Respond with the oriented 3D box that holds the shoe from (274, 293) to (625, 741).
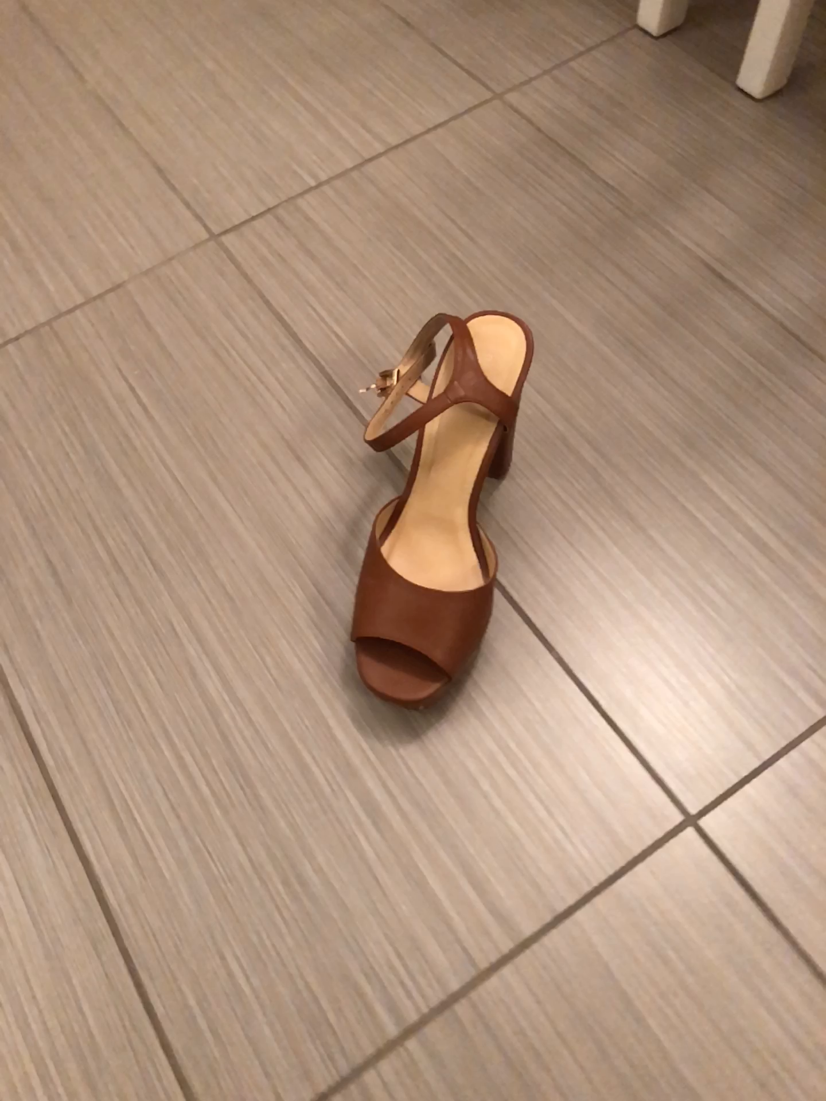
[{"bbox_3d":[0.032,-0.025,0.559,0.110,0.090,0.241,21,69,17],"label":"shoe"}]
